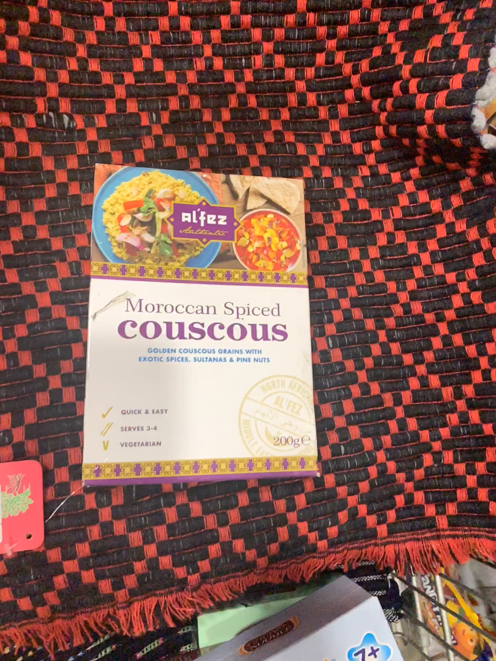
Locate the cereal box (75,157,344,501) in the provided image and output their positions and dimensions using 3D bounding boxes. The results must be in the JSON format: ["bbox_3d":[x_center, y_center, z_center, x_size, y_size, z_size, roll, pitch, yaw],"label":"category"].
[{"bbox_3d":[-0.022,-0.001,0.268,0.120,0.050,0.160,0,77,-12],"label":"cereal box"}]
